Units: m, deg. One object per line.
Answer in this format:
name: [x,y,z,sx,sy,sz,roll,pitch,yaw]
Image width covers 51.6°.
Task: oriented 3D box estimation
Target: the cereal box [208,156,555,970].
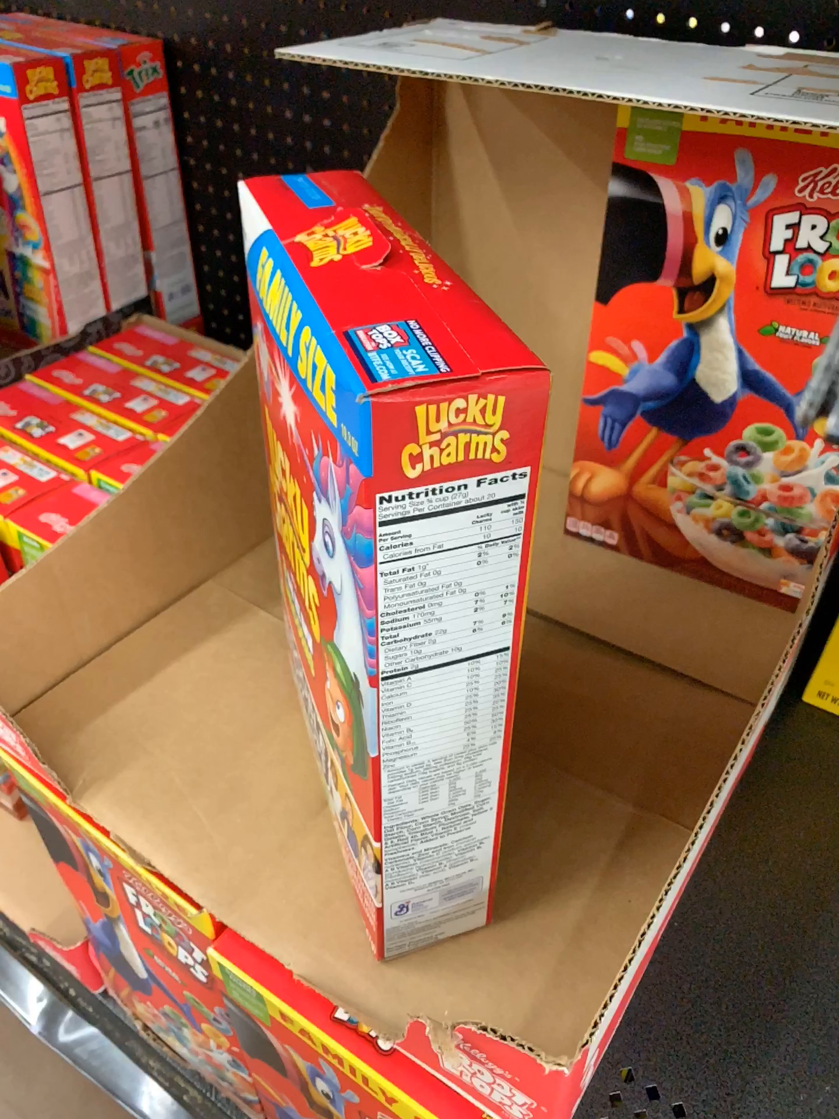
cereal box: [-0.031,-0.002,0.399,0.060,0.289,0.231,-11,39,-15]
